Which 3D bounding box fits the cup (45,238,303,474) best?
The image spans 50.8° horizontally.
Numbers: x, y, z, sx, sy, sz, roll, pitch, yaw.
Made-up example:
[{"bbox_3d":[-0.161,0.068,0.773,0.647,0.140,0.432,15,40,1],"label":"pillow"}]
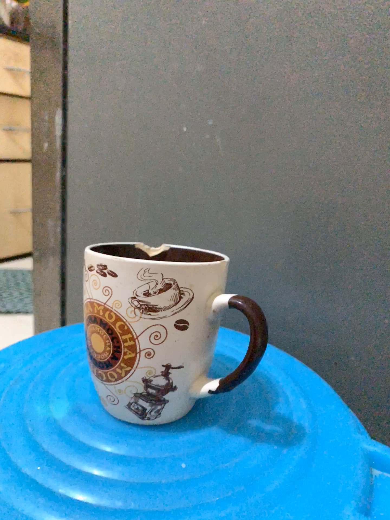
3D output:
[{"bbox_3d":[-0.014,0.036,0.226,0.110,0.080,0.080,12,10,37],"label":"cup"}]
